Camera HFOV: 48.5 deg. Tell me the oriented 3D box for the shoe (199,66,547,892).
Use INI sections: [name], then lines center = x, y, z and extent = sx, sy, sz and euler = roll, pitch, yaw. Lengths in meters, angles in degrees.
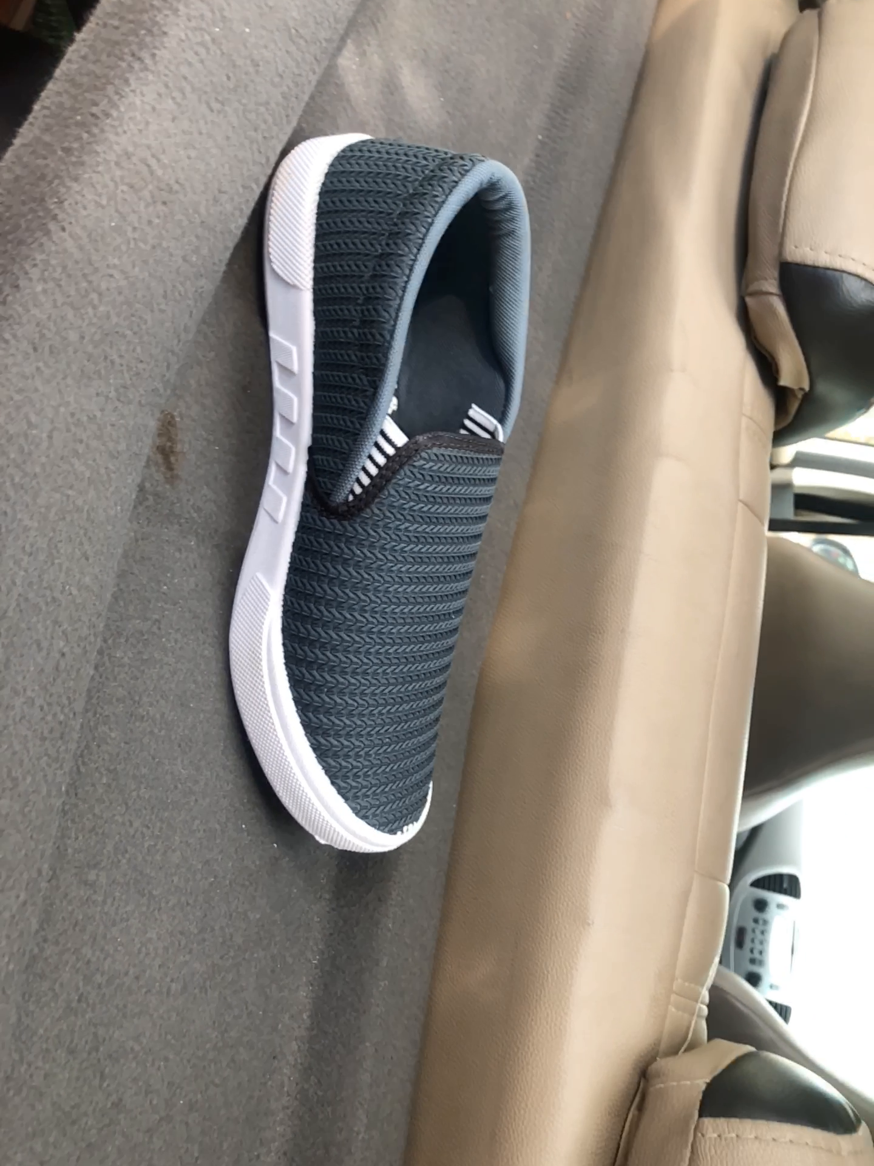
[shoe]
center = -0.021, -0.037, 0.382
extent = 0.081, 0.089, 0.280
euler = 8, 85, -65
